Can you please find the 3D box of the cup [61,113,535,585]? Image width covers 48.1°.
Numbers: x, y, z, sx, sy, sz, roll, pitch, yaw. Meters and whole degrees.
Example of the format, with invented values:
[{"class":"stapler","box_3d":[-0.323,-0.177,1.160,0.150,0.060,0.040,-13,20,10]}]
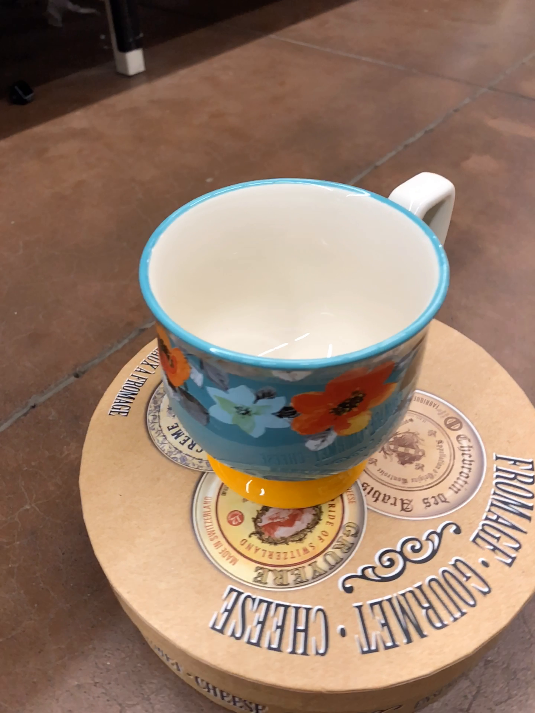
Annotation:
[{"class":"cup","box_3d":[0.021,-0.015,0.217,0.090,0.080,0.140,32,53,30]}]
